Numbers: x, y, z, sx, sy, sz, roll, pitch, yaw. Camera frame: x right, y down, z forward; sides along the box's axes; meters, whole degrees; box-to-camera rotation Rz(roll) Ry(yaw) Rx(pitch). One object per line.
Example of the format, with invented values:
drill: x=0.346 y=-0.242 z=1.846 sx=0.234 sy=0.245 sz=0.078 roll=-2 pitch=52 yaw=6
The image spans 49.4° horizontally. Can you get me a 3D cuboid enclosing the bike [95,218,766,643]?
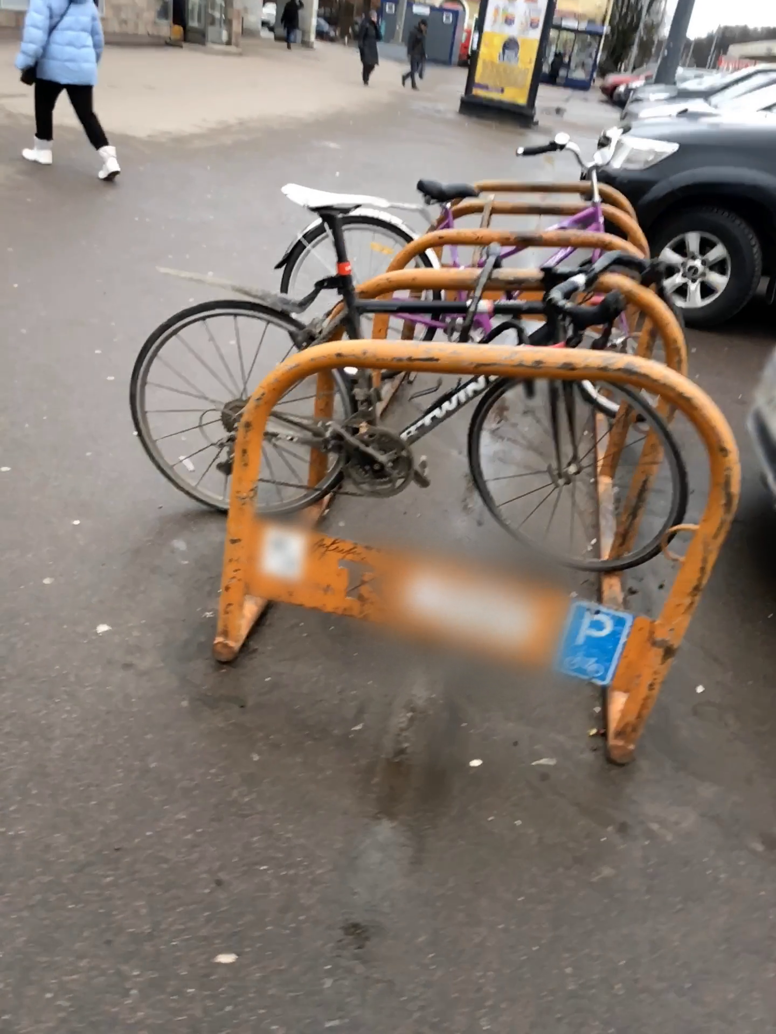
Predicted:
bike: x=0.030 y=-0.271 z=2.255 sx=1.515 sy=0.761 sz=0.492 roll=11 pitch=28 yaw=8
